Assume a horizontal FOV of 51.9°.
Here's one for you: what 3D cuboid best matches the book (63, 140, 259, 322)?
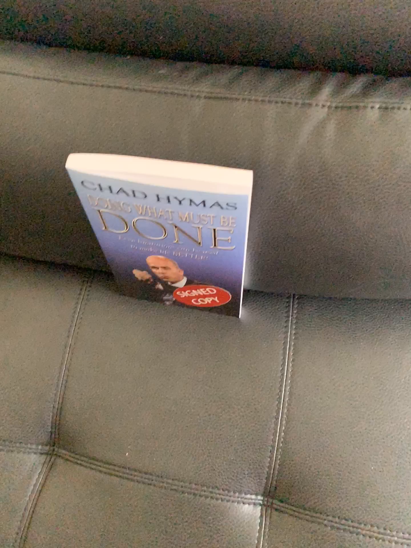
[{"bbox_3d":[-0.035,-0.028,0.433,0.156,0.225,0.025,11,59,8],"label":"book"}]
